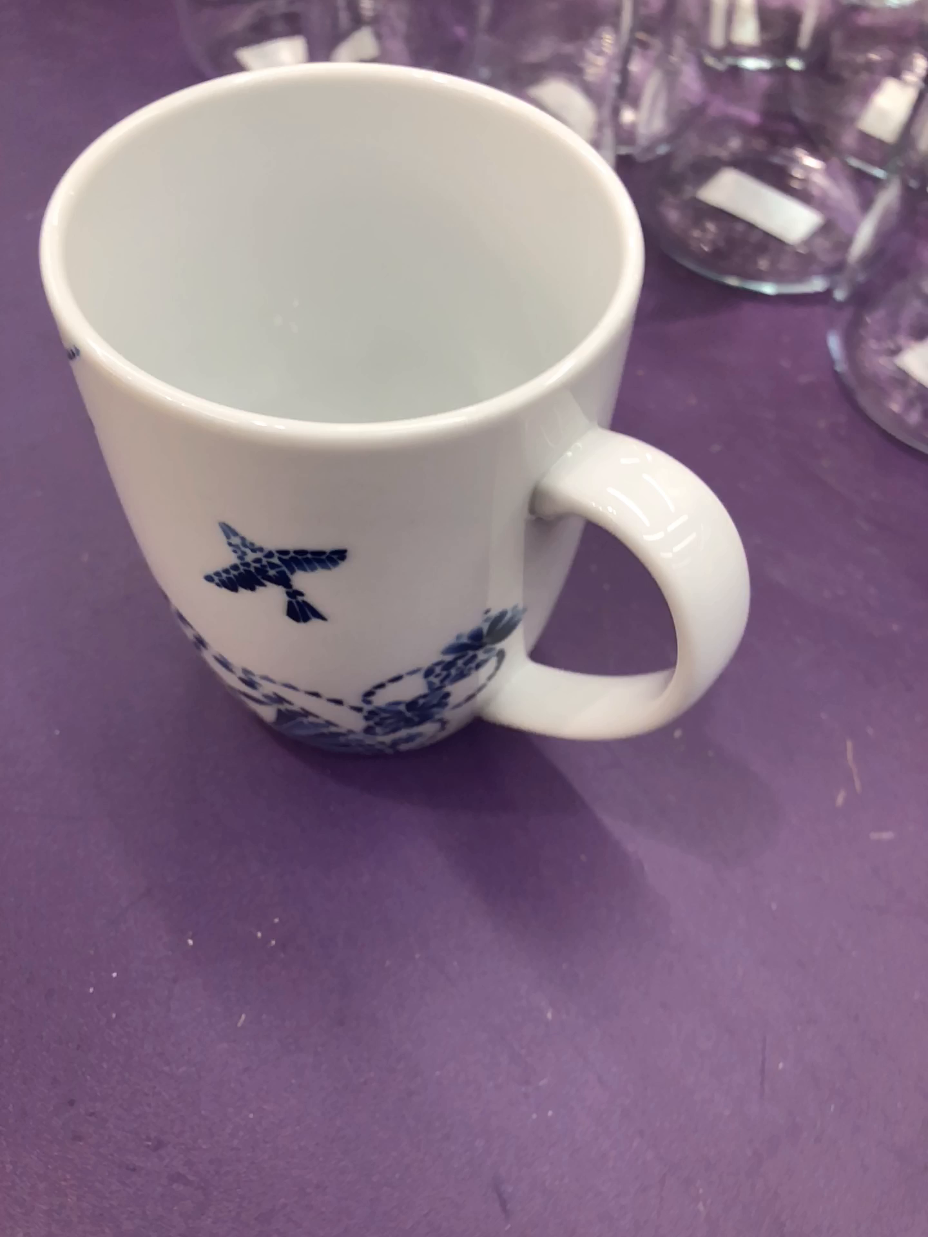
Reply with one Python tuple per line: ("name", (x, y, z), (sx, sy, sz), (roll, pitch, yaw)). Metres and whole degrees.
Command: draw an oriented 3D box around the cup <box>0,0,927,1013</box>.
("cup", (-0.003, -0.023, 0.210), (0.140, 0.119, 0.100), (36, 62, 21))
